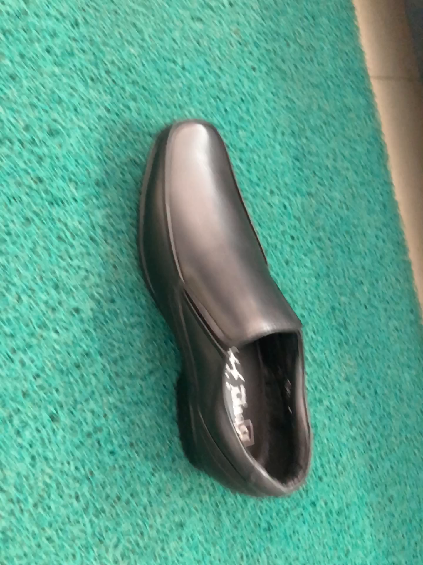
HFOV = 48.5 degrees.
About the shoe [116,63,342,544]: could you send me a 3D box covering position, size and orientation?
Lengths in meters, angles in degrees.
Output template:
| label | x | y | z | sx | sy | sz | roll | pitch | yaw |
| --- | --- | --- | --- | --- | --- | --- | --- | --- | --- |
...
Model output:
| label | x | y | z | sx | sy | sz | roll | pitch | yaw |
| --- | --- | --- | --- | --- | --- | --- | --- | --- | --- |
| shoe | 0.012 | 0.011 | 0.366 | 0.101 | 0.089 | 0.310 | -7 | 89 | -36 |
